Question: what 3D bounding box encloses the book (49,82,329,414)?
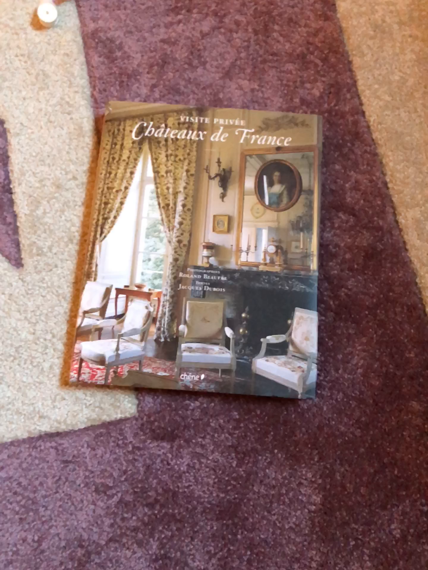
[{"bbox_3d":[-0.016,-0.047,0.514,0.260,0.050,0.340,5,77,1],"label":"book"}]
